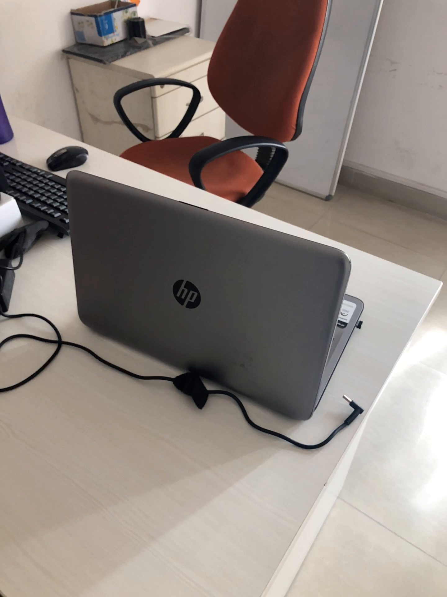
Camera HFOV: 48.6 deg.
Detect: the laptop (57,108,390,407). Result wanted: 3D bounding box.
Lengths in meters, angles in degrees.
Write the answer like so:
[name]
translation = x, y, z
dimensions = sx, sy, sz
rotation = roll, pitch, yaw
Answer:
[laptop]
translation = -0.002, -0.073, 0.683
dimensions = 0.351, 0.226, 0.217
rotation = 21, 49, 22
